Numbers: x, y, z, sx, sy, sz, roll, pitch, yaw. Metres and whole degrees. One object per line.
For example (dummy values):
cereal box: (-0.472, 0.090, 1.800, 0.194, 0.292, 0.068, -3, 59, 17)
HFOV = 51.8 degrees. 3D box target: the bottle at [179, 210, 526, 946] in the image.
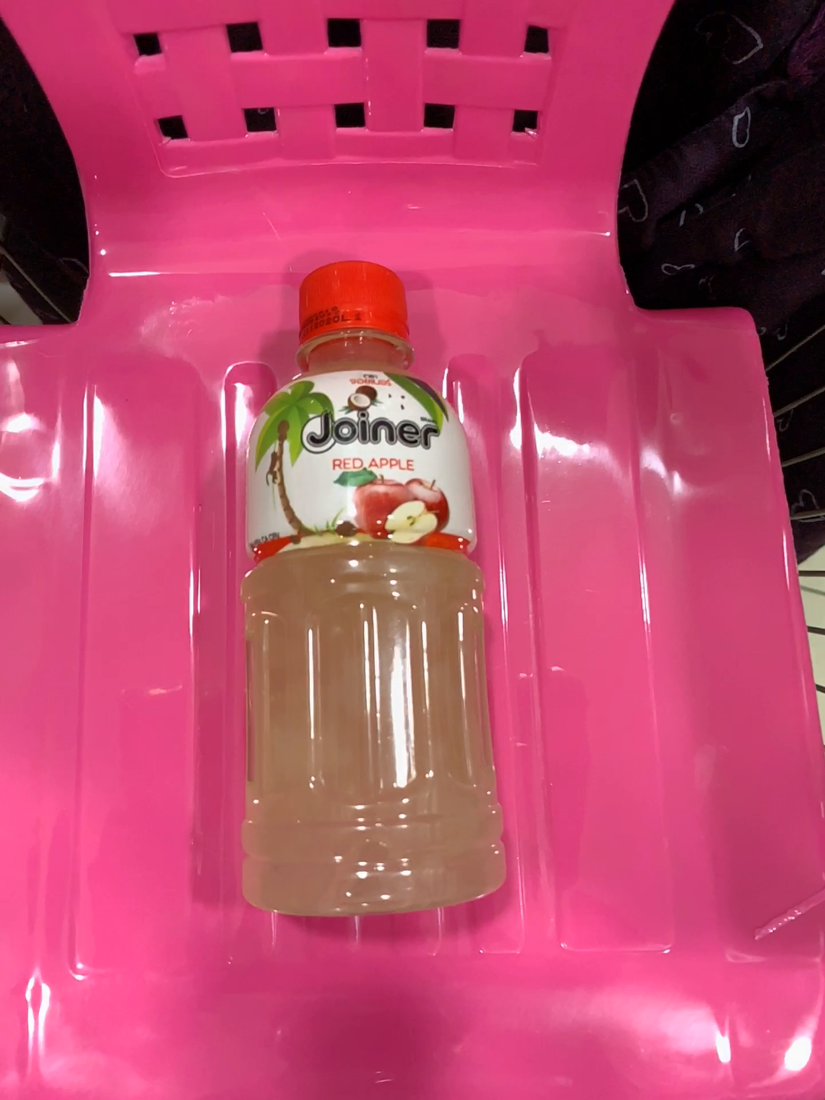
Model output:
bottle: (-0.016, 0.004, 0.212, 0.070, 0.050, 0.160, -3, 81, -2)
